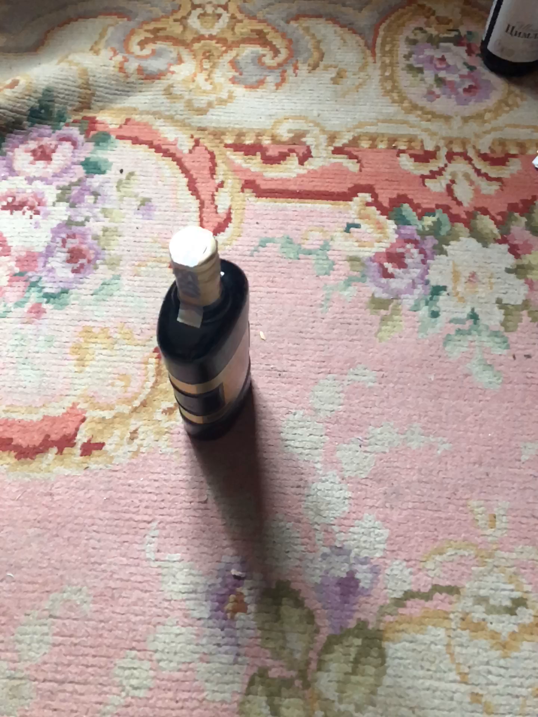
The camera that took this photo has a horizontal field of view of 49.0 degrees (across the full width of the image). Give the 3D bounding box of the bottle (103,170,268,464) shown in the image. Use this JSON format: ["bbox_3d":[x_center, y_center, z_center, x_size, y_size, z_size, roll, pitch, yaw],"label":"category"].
[{"bbox_3d":[-0.045,-0.011,0.440,0.050,0.239,0.100,22,65,11],"label":"bottle"}]
